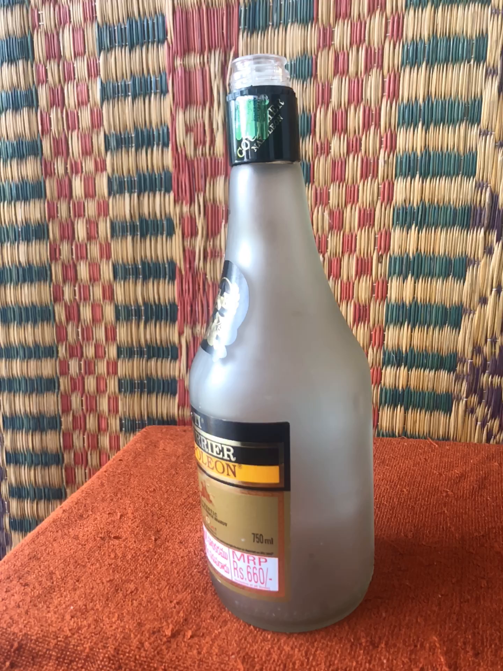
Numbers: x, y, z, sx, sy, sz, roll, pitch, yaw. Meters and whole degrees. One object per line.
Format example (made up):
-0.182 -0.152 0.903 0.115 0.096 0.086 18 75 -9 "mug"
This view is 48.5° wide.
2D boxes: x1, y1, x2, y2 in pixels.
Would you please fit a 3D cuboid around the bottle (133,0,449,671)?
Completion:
0.015 0.006 0.254 0.090 0.249 0.100 -9 16 -21 "bottle"
